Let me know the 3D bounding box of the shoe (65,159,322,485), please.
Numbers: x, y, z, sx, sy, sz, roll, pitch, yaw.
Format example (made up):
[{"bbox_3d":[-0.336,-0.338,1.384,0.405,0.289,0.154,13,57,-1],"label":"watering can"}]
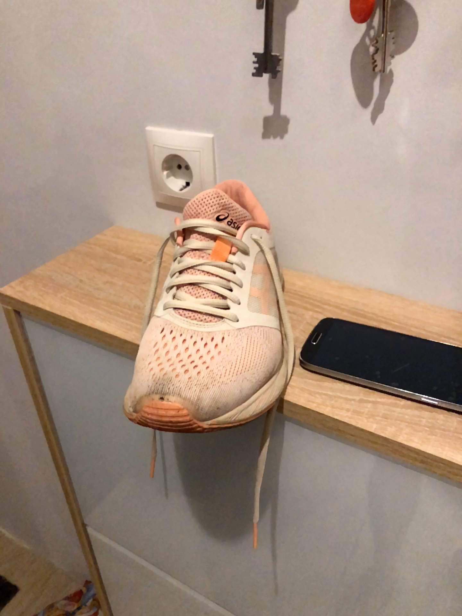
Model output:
[{"bbox_3d":[0.000,-0.019,0.387,0.110,0.103,0.270,5,34,12],"label":"shoe"}]
